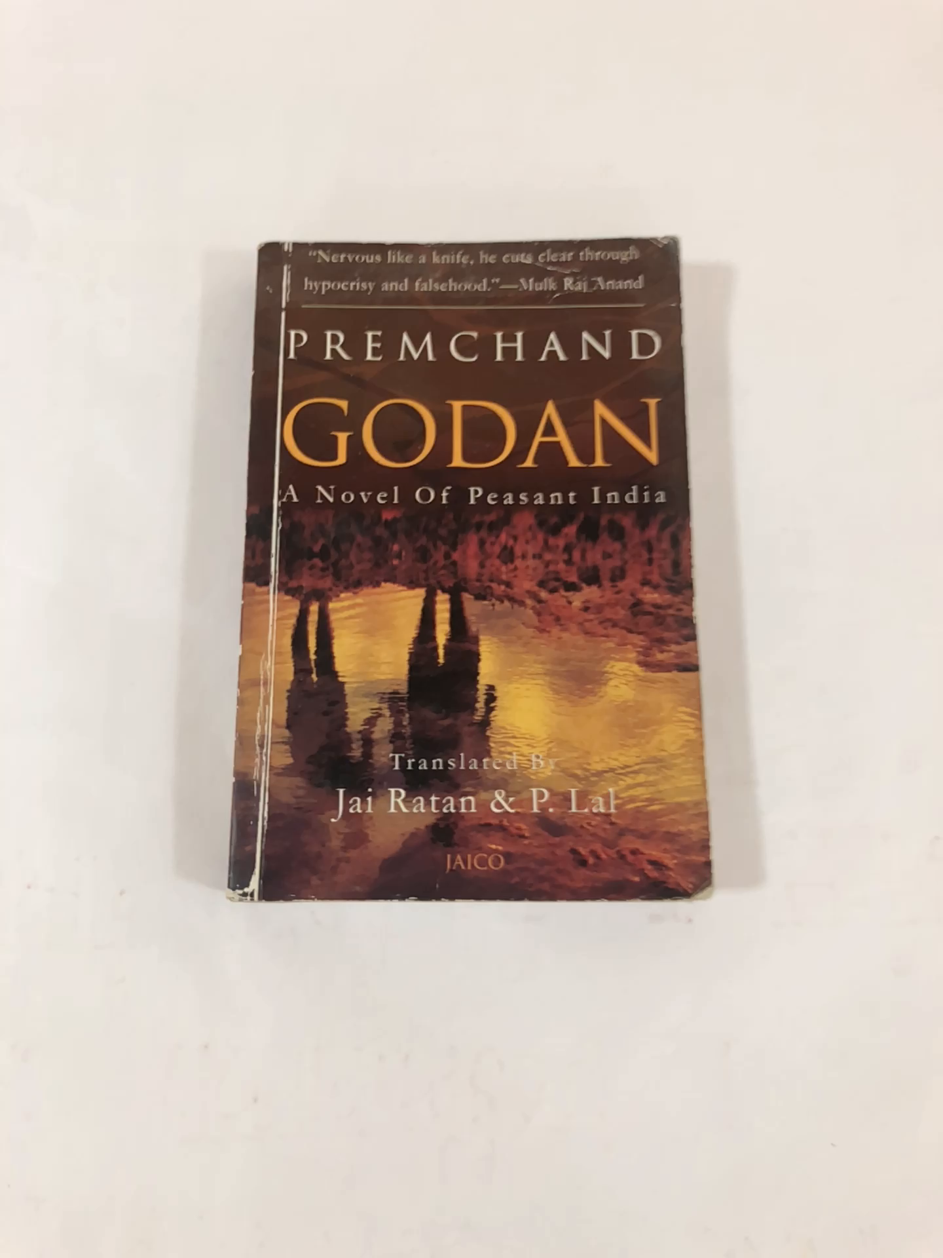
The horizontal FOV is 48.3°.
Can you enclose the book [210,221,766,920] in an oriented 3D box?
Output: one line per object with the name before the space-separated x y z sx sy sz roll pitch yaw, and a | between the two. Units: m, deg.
book | 0.007 -0.022 0.323 0.150 0.030 0.210 2 76 0
